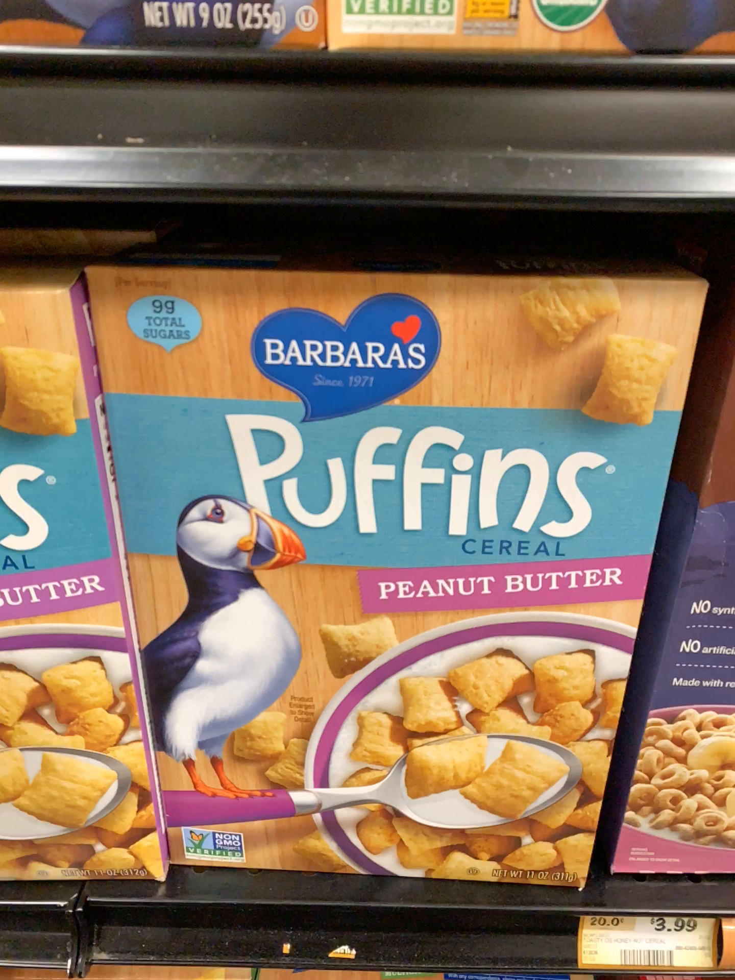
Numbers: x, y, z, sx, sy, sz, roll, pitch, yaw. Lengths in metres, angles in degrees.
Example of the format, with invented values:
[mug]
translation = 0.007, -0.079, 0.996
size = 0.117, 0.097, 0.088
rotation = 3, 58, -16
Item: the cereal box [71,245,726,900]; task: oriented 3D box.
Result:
[cereal box]
translation = 0.007, 0.040, 0.312
size = 0.200, 0.259, 0.070
rotation = 2, 22, 2
